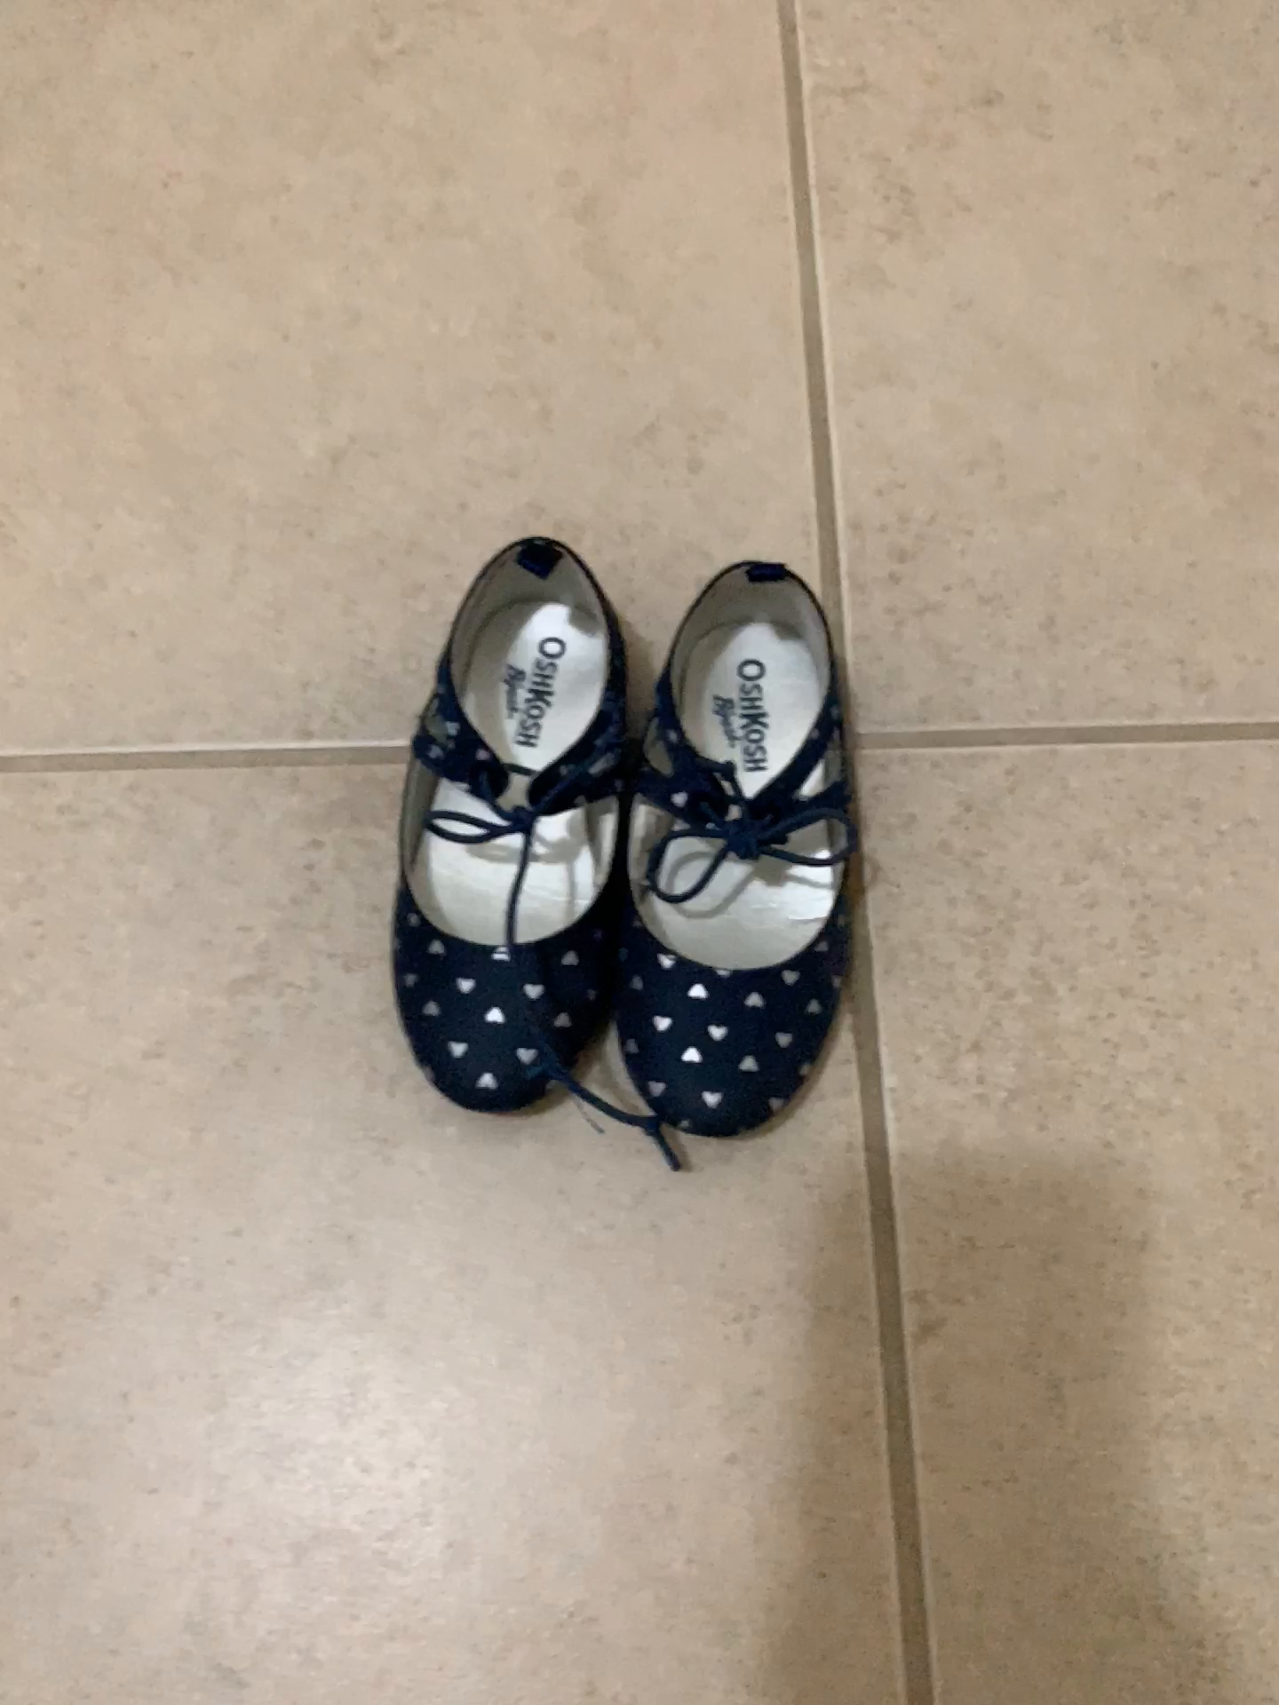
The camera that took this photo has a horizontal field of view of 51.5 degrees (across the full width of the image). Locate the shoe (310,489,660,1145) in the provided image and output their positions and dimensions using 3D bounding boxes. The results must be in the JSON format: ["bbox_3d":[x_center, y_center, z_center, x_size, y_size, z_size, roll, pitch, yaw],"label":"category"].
[{"bbox_3d":[-0.036,-0.011,0.374,0.070,0.062,0.171,4,69,3],"label":"shoe"}]

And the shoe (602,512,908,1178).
[{"bbox_3d":[0.034,-0.003,0.369,0.070,0.062,0.171,4,69,3],"label":"shoe"}]
